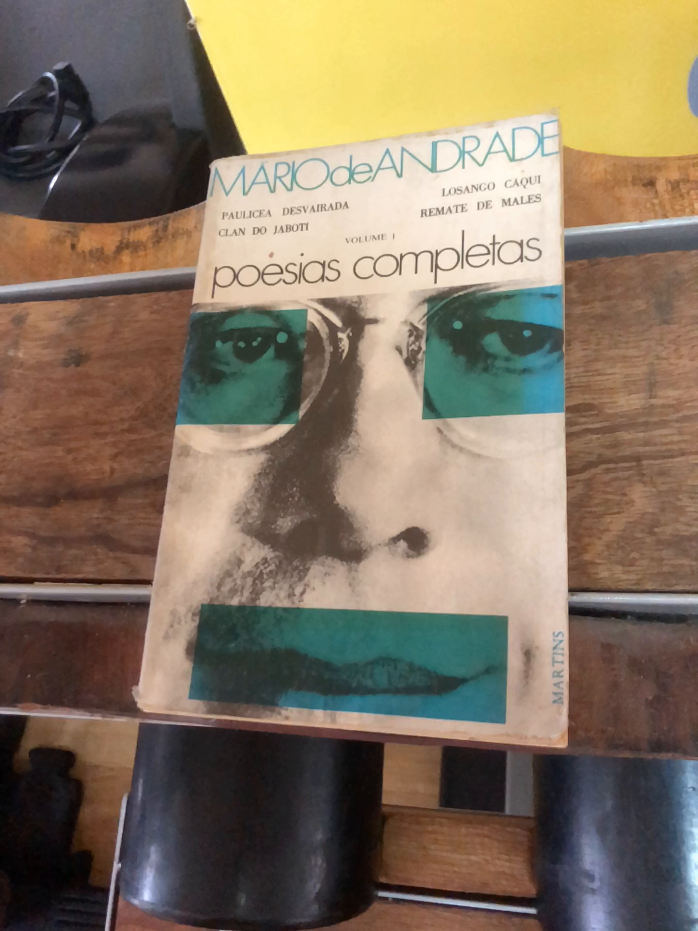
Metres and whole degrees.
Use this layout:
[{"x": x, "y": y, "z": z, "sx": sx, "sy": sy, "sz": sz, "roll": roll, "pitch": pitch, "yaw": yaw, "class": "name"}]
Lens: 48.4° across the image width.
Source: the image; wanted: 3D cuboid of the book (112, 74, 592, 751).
[{"x": 0.004, "y": -0.025, "z": 0.255, "sx": 0.140, "sy": 0.020, "sz": 0.210, "roll": 0, "pitch": 74, "yaw": 15, "class": "book"}]
